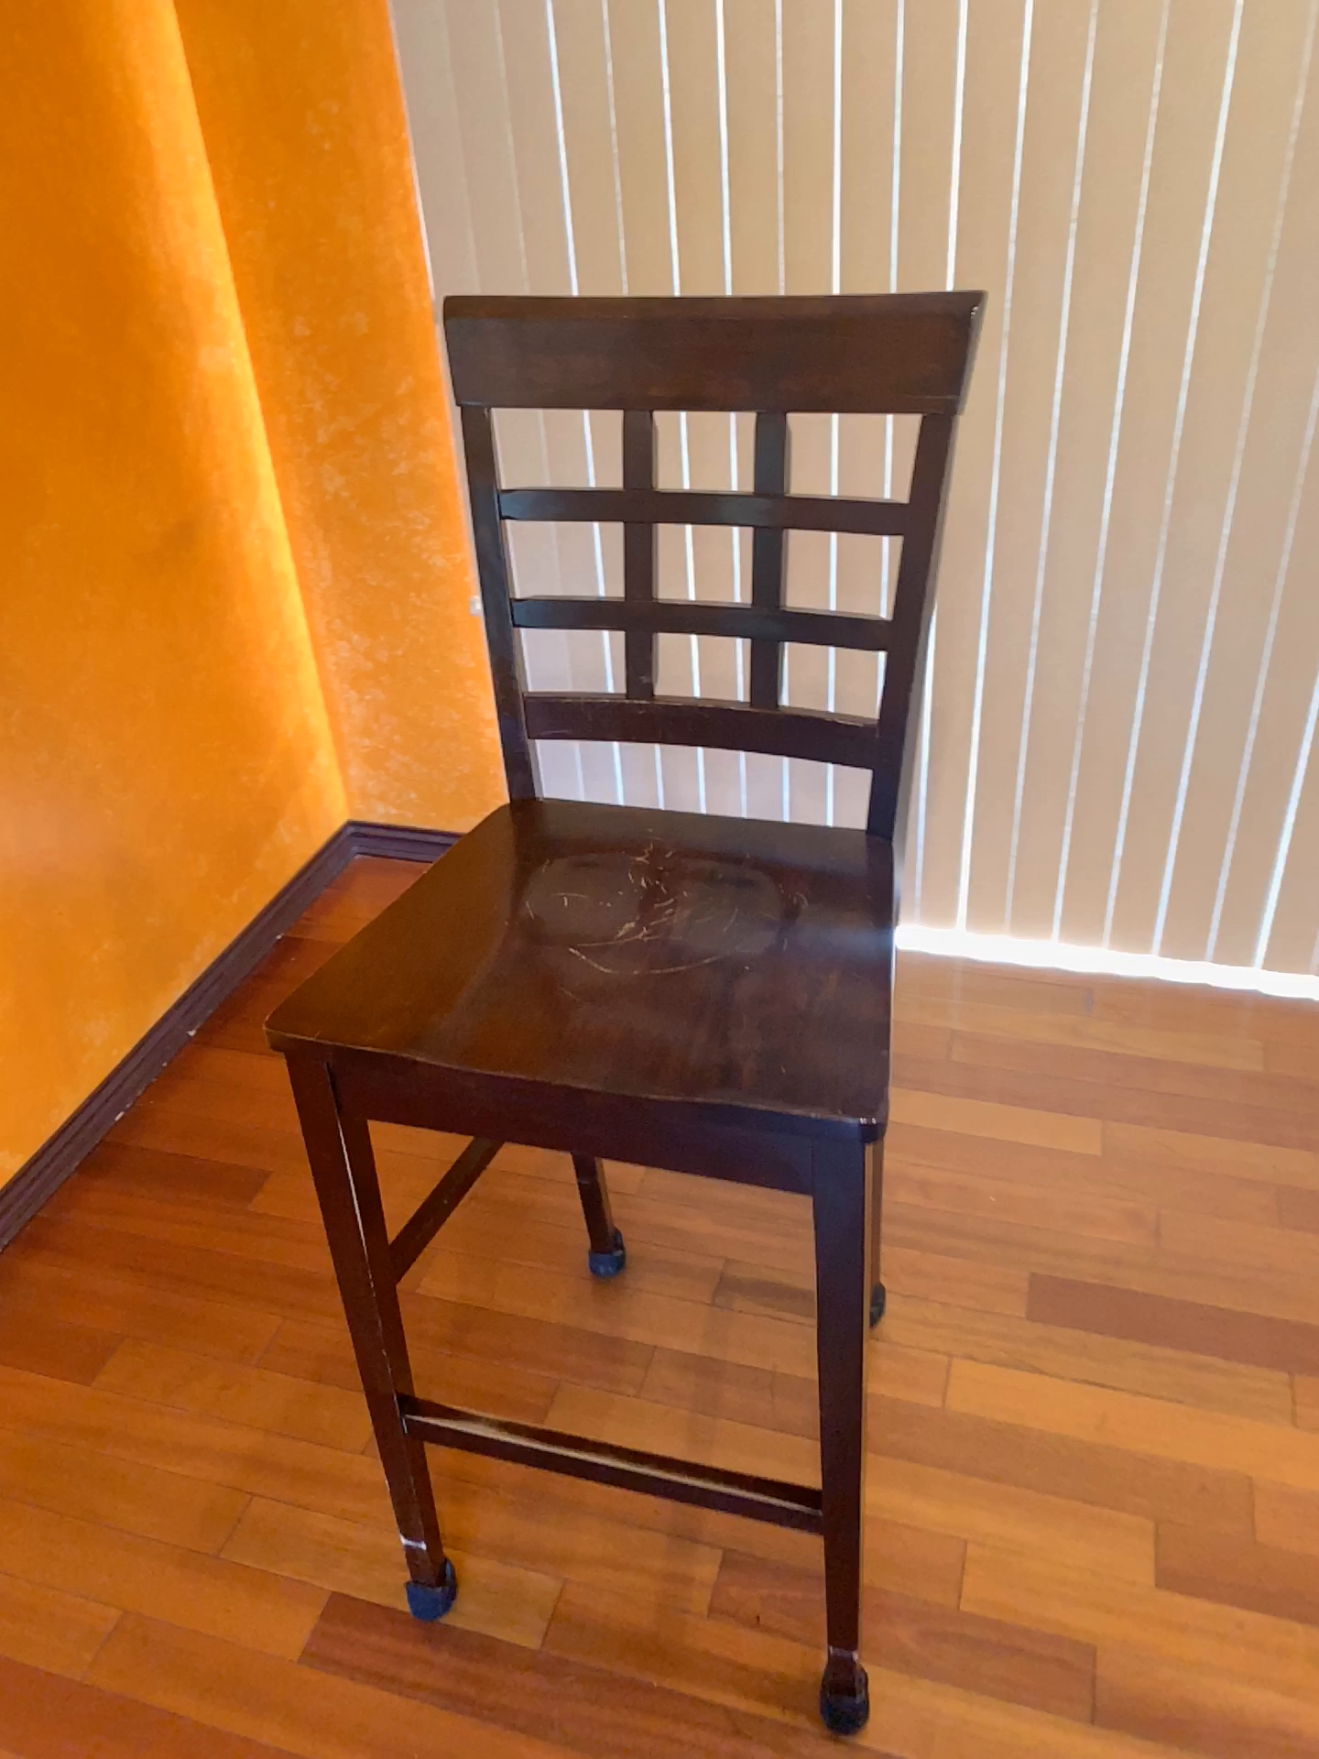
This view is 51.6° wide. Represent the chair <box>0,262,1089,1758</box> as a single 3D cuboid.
[{"bbox_3d":[-0.001,0.094,1.090,0.542,0.986,0.584,6,33,15],"label":"chair"}]
